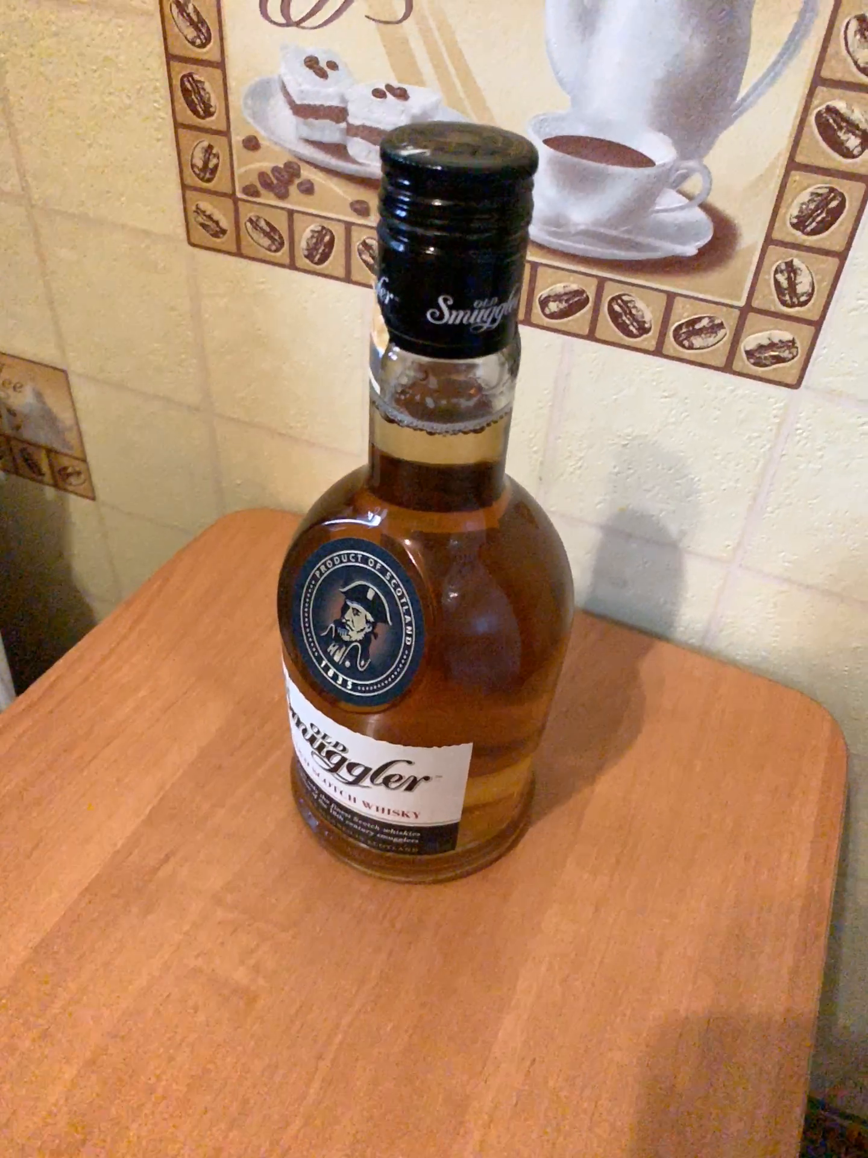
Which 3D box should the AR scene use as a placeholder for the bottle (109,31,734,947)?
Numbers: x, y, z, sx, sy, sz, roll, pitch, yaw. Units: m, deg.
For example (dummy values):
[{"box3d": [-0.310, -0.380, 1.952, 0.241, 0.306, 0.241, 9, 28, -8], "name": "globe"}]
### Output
[{"box3d": [-0.009, -0.012, 0.257, 0.100, 0.229, 0.080, 30, 46, 27], "name": "bottle"}]
